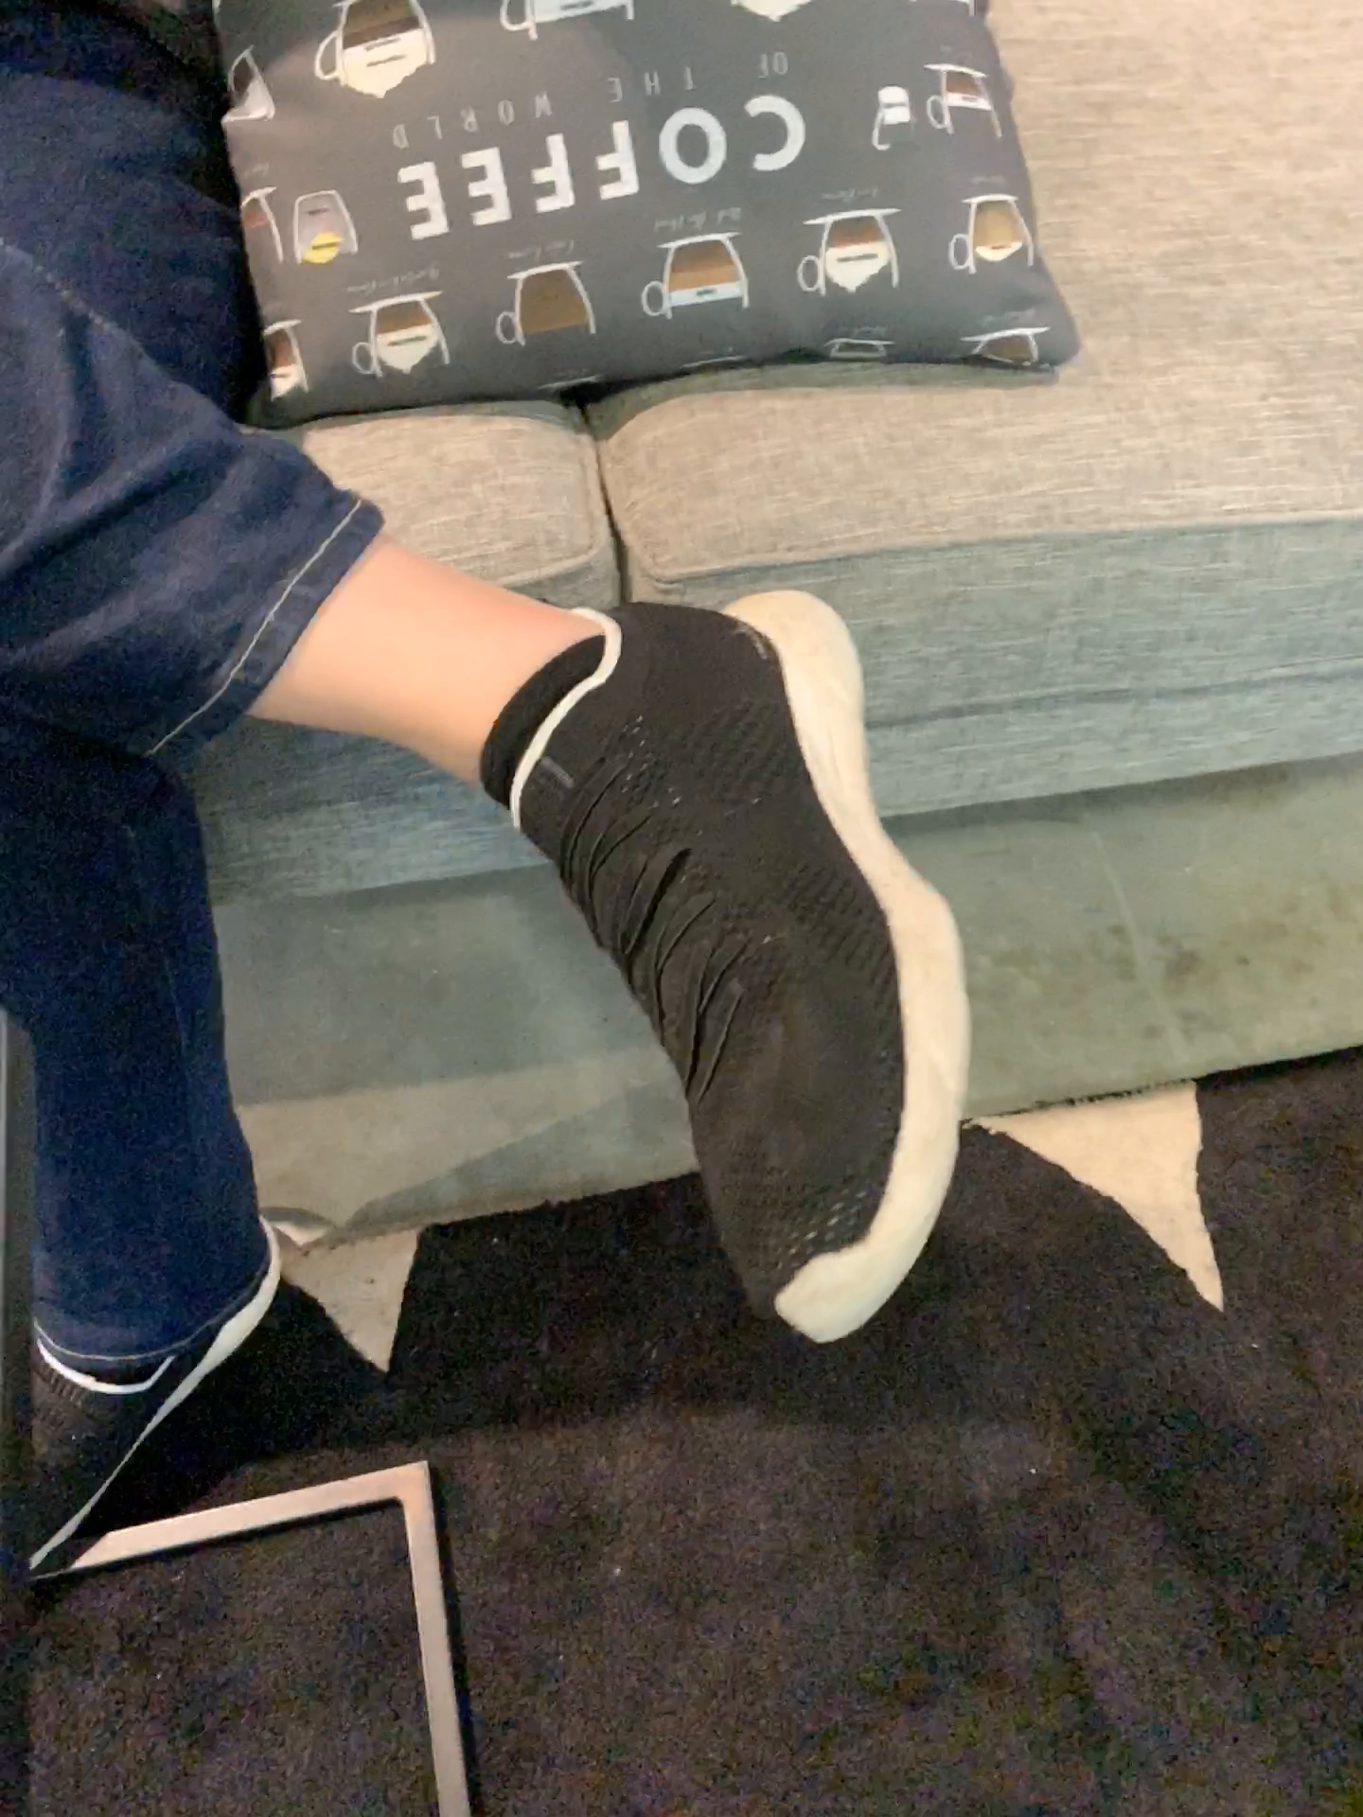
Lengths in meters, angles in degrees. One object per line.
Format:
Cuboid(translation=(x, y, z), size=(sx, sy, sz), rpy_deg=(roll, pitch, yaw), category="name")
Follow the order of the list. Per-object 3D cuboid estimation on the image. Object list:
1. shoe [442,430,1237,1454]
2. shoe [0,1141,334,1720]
Cuboid(translation=(0.014, -0.008, 0.402), size=(0.132, 0.112, 0.277), rpy_deg=(3, 46, -18), category="shoe")
Cuboid(translation=(-0.360, 0.285, 0.789), size=(0.116, 0.074, 0.303), rpy_deg=(41, 67, 19), category="shoe")
